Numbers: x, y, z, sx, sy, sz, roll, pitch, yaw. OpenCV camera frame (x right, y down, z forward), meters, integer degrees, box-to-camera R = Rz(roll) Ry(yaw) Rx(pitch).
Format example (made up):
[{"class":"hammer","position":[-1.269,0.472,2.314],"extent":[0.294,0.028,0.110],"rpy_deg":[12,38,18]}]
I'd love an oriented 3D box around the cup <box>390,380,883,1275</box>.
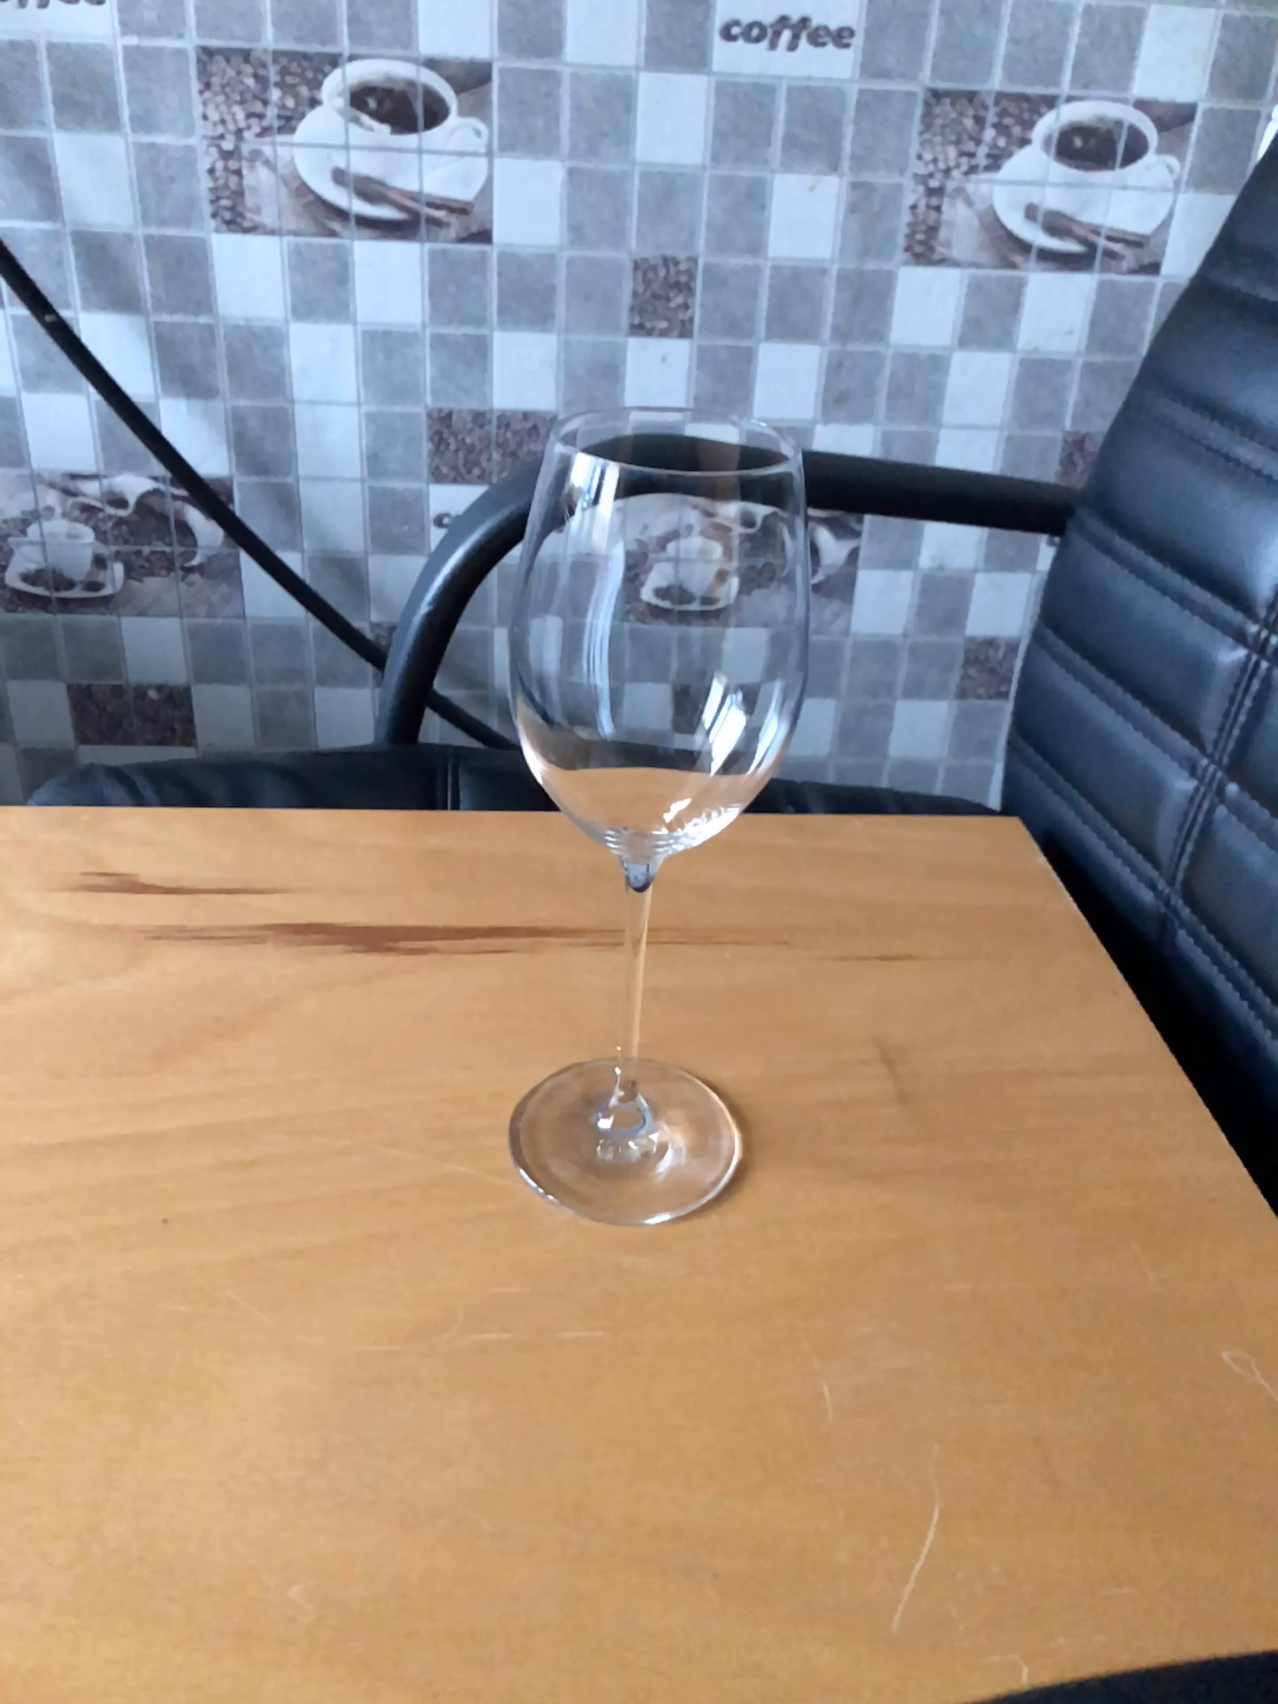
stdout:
[{"class":"cup","position":[-0.002,-0.006,0.394],"extent":[0.089,0.218,0.090],"rpy_deg":[2,30,-1]}]
